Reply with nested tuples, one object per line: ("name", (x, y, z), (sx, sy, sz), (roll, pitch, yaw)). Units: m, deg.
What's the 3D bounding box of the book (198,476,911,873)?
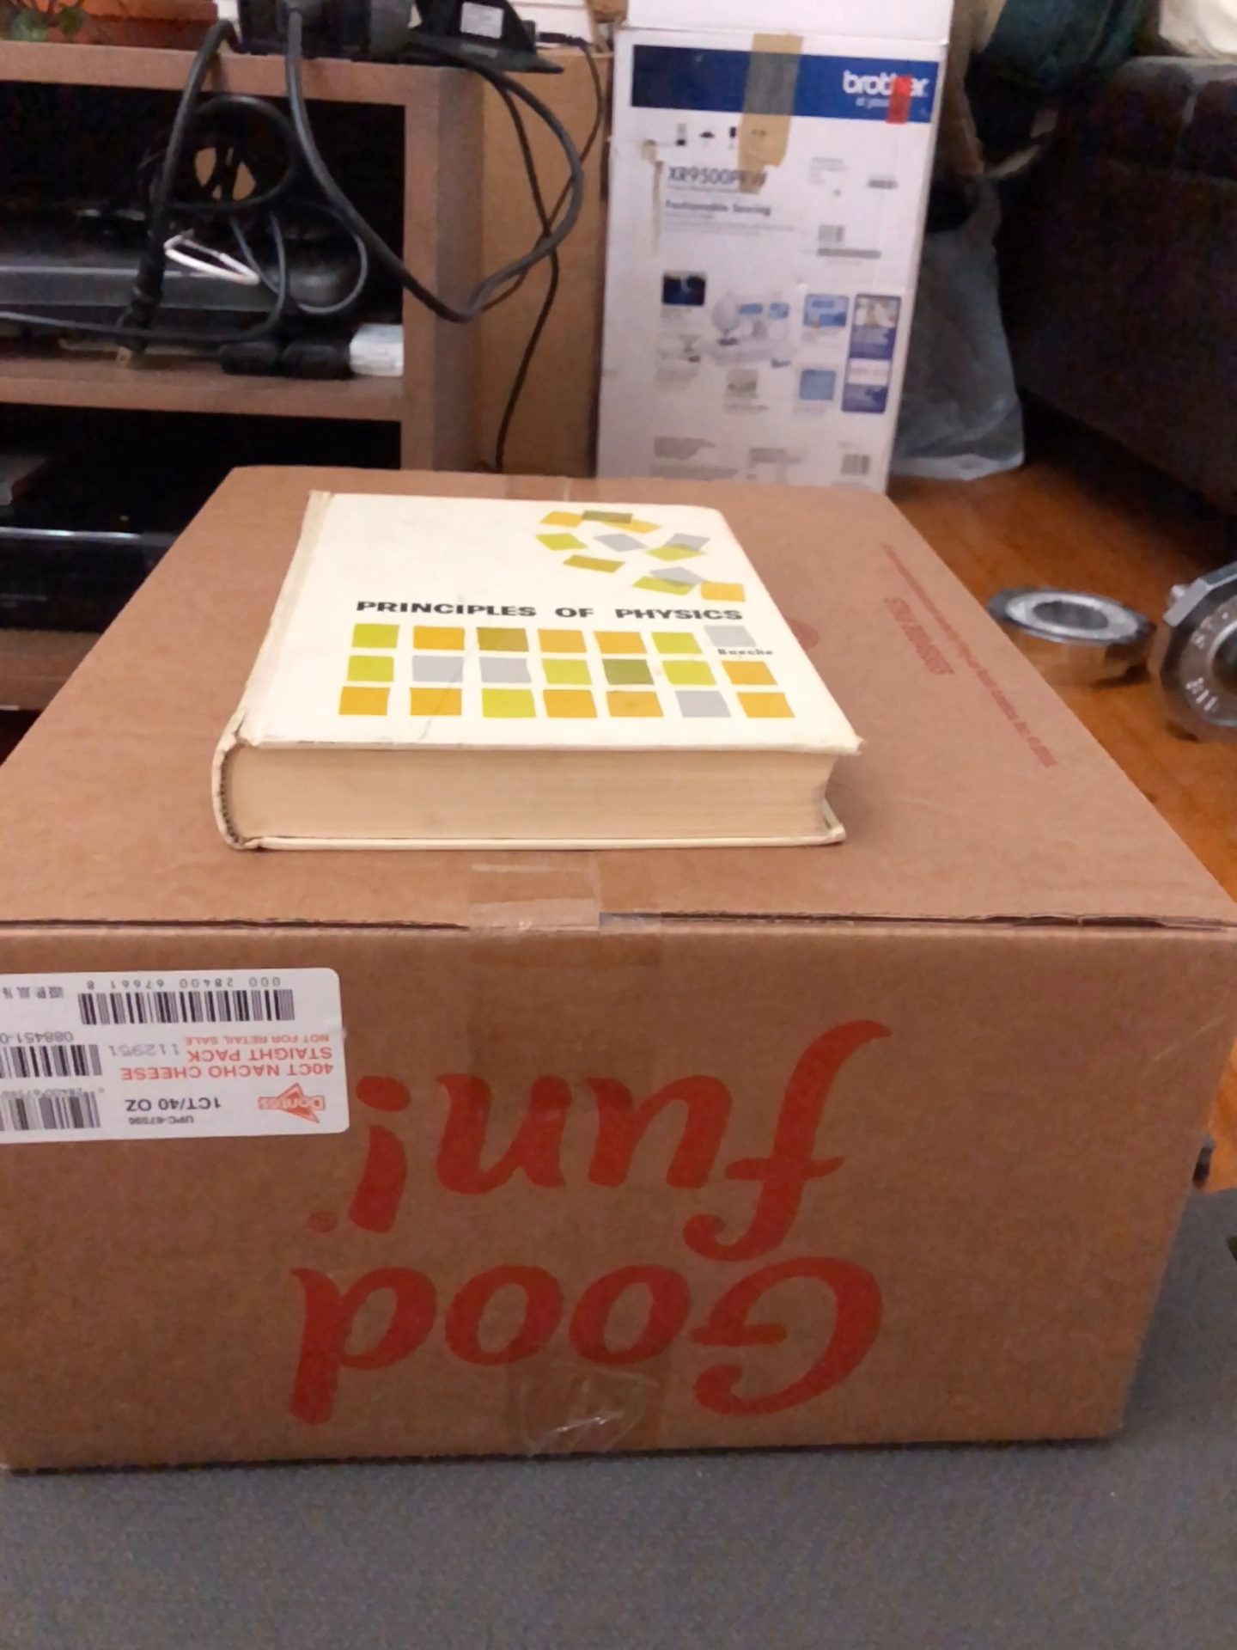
("book", (-0.026, -0.065, 0.465), (0.180, 0.040, 0.251), (0, 28, -6))
